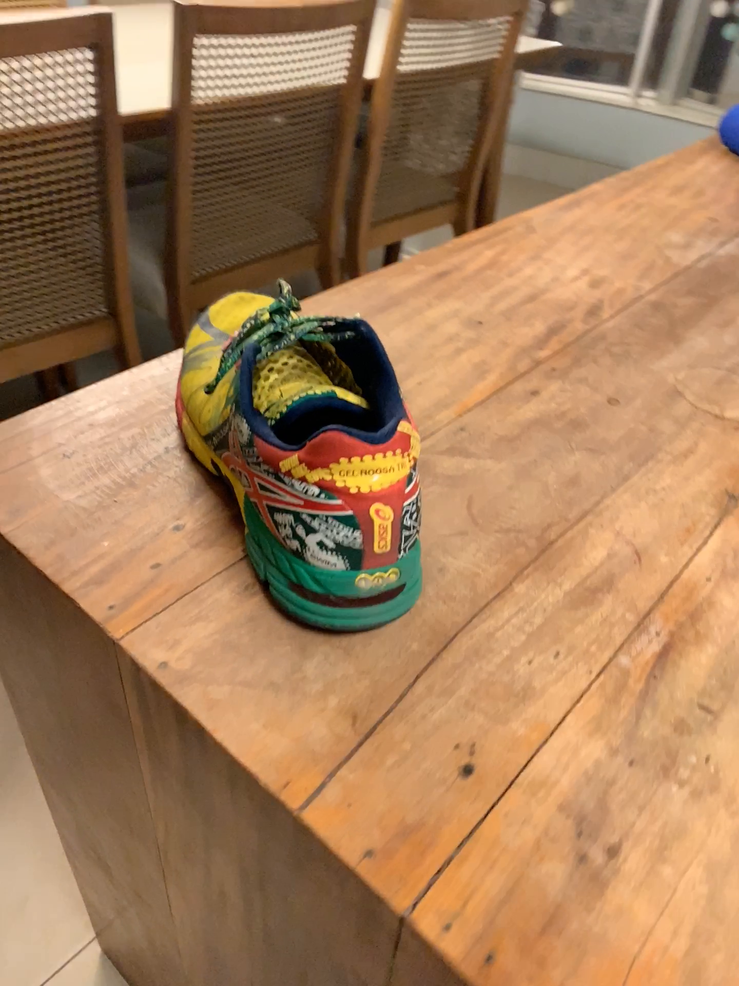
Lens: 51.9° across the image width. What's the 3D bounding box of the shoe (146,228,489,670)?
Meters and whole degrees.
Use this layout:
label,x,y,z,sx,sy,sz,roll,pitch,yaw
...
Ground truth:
label,x,y,z,sx,sy,sz,roll,pitch,yaw
shoe,-0.053,-0.053,0.460,0.113,0.102,0.296,-10,41,-18
